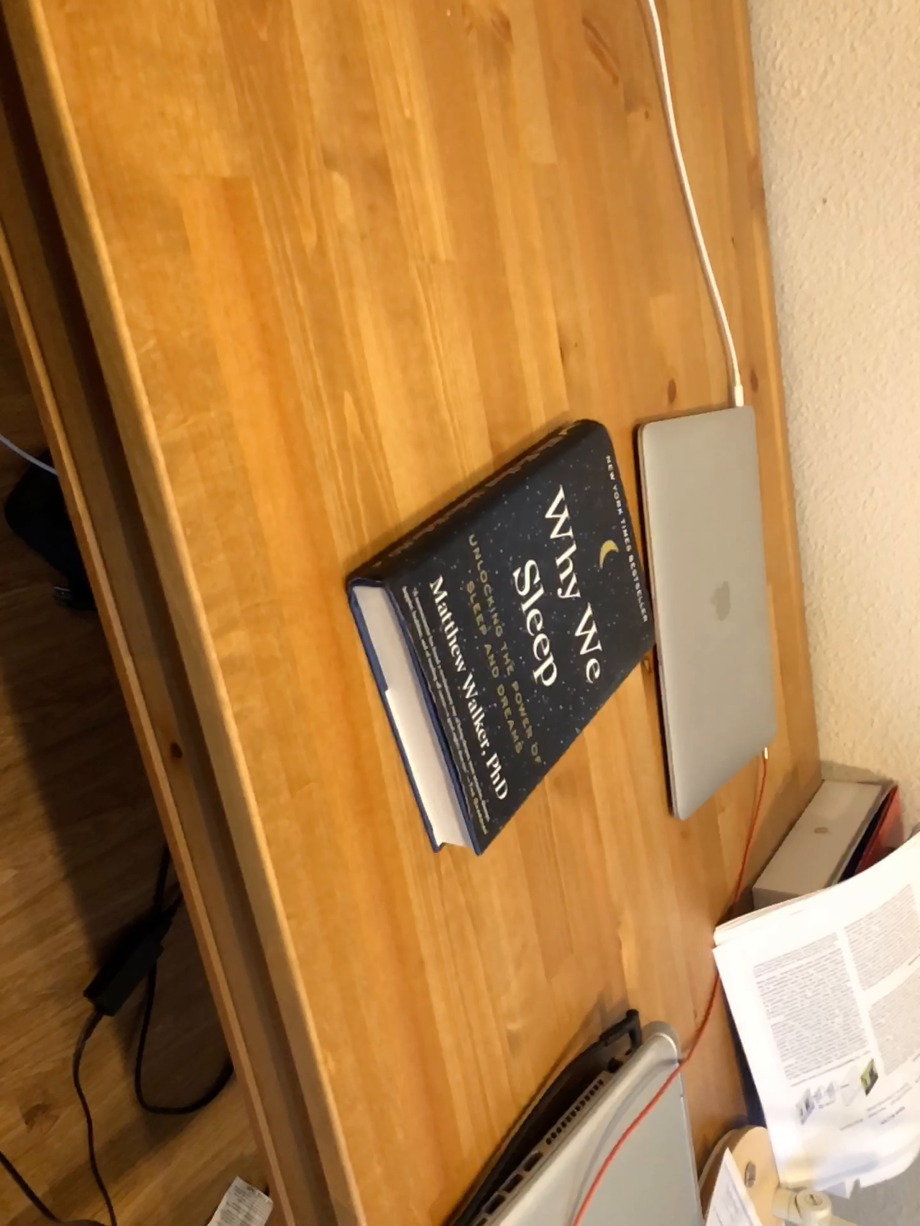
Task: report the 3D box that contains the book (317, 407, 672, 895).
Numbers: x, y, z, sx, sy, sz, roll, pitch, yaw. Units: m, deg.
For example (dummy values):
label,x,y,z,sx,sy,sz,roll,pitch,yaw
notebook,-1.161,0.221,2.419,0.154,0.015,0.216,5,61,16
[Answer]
label,x,y,z,sx,sy,sz,roll,pitch,yaw
book,0.038,0.008,0.562,0.241,0.040,0.170,-41,122,-46
